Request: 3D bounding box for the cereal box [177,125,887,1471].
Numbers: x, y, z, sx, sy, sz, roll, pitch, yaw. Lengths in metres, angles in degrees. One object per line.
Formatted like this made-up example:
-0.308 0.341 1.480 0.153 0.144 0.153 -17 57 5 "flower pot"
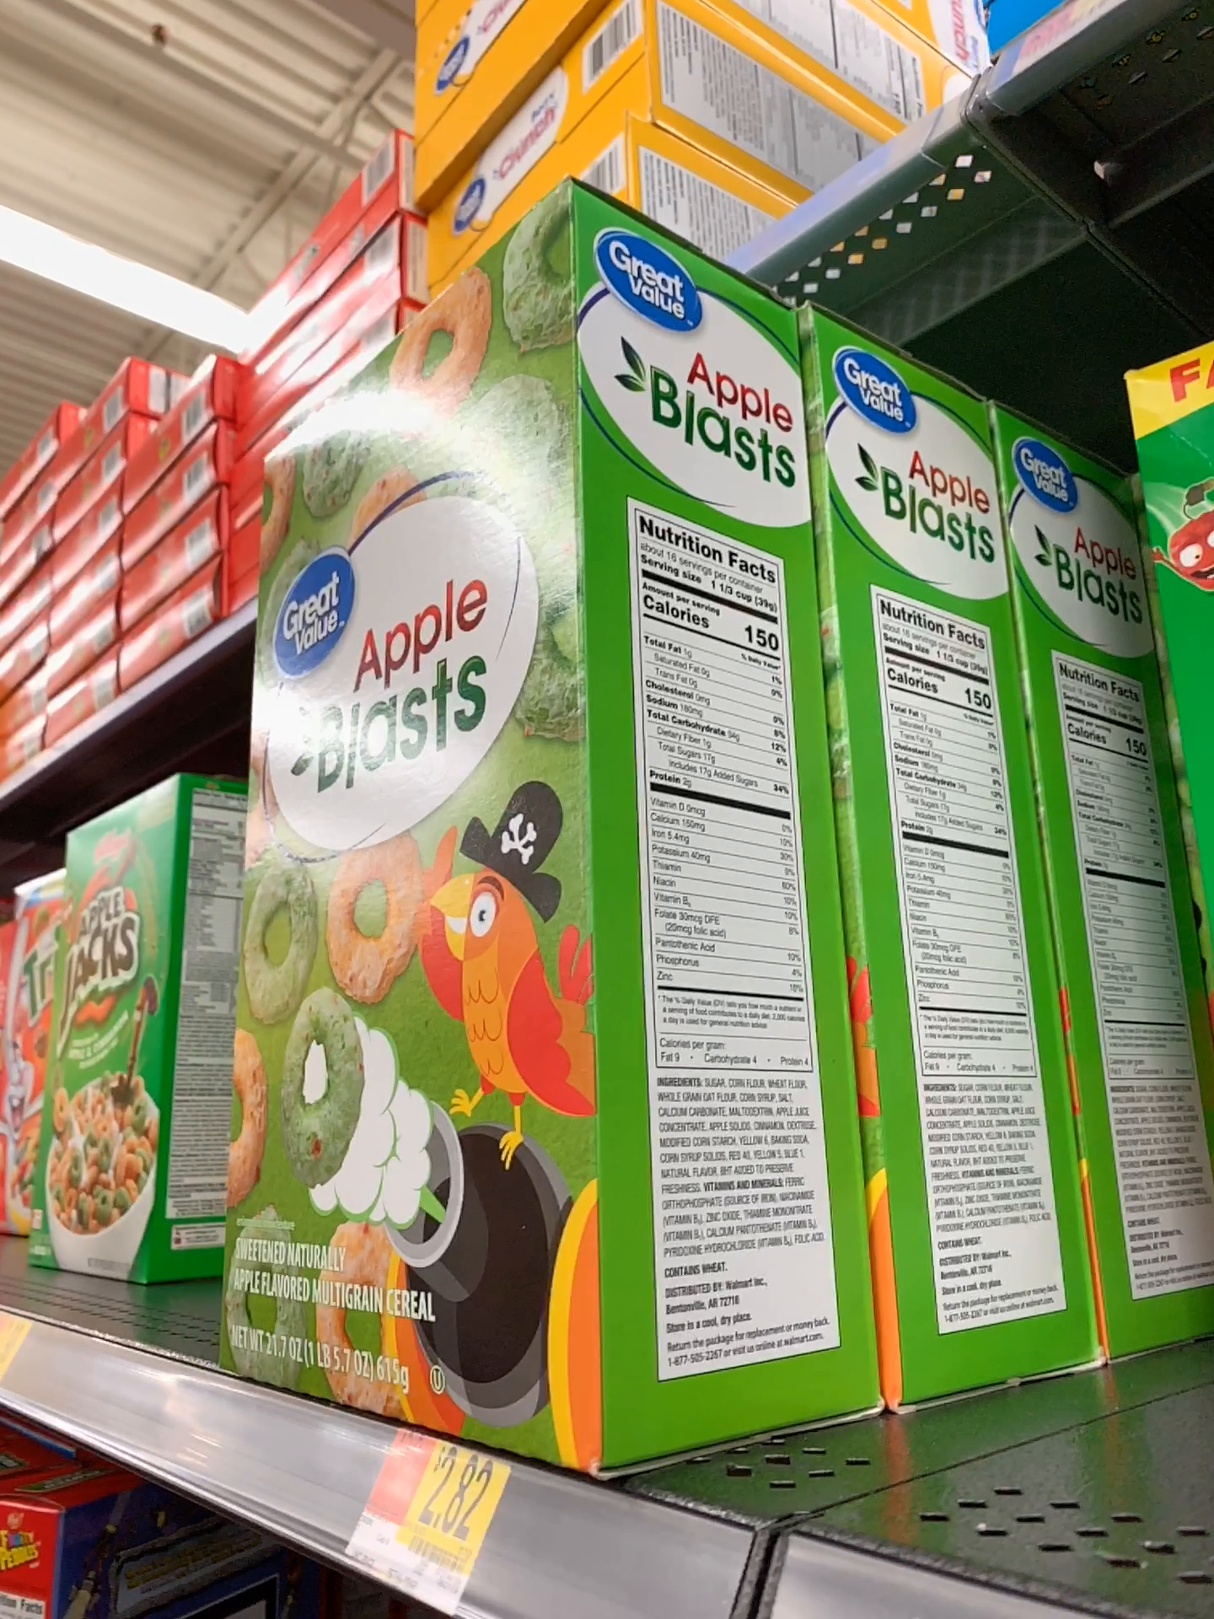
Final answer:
-0.036 0.002 0.401 0.100 0.331 0.200 12 -20 -39 "cereal box"
